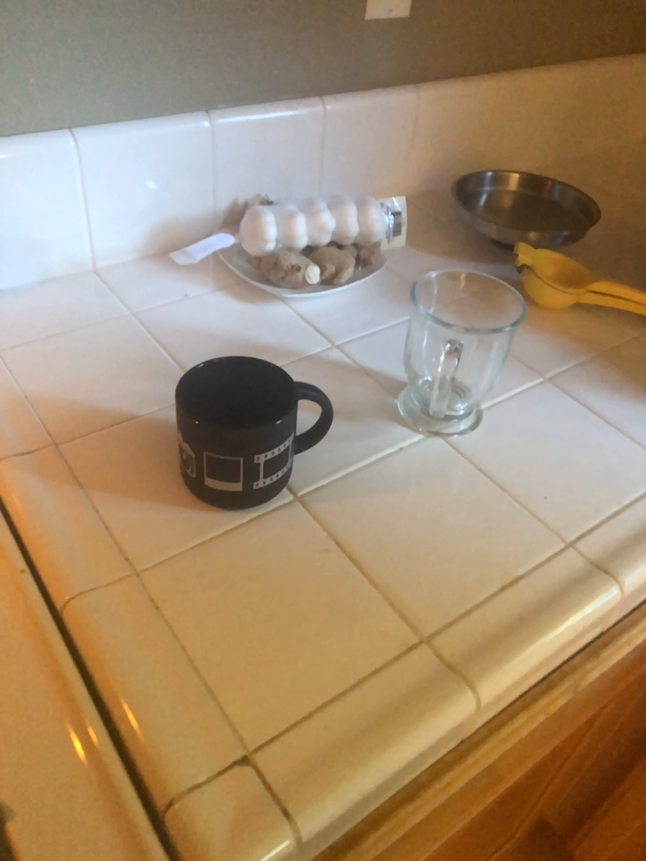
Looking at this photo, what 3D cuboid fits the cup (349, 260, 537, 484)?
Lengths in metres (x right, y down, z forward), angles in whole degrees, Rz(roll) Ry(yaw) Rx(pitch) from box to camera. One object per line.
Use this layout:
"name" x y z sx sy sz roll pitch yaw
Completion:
"cup" 0.103 -0.055 0.614 0.100 0.109 0.141 22 44 16

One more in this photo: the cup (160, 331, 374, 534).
"cup" -0.046 -0.002 0.541 0.130 0.089 0.101 -10 44 -18
